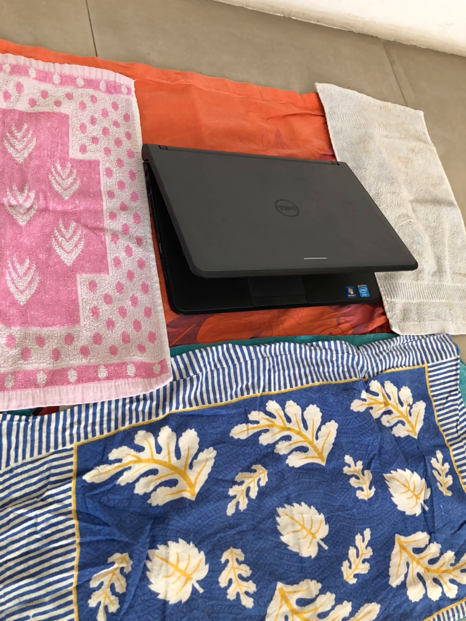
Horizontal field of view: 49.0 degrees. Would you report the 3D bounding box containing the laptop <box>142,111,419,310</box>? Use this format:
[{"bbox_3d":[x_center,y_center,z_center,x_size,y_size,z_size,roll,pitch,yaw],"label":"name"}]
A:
[{"bbox_3d":[0.063,-0.129,0.671,0.315,0.078,0.227,-4,68,-27],"label":"laptop"}]
